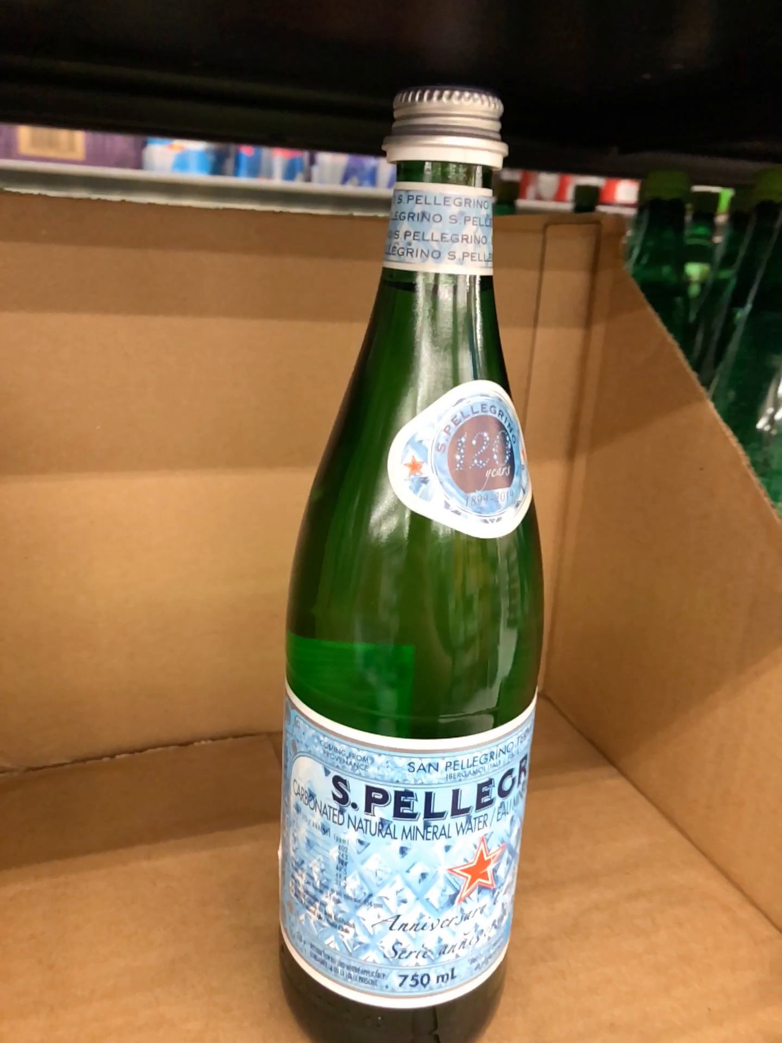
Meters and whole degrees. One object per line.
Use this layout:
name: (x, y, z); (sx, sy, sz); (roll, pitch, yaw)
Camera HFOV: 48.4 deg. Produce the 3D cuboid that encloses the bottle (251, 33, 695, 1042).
bottle: (0.008, 0.028, 0.249); (0.080, 0.278, 0.070); (-4, 19, -21)
